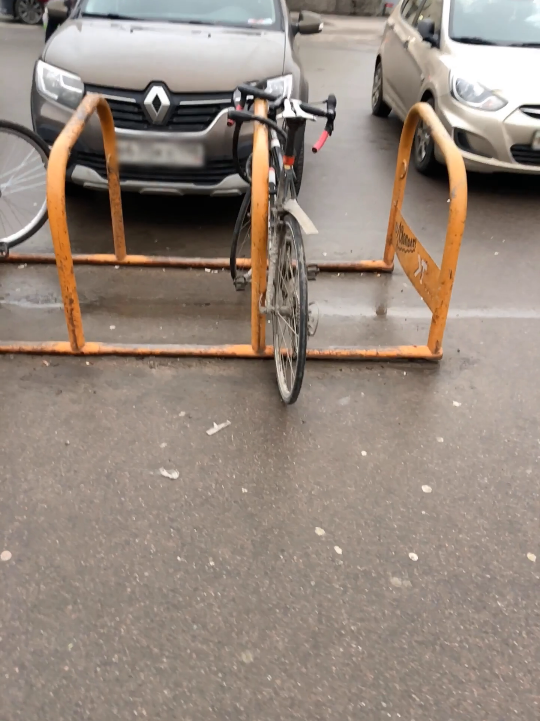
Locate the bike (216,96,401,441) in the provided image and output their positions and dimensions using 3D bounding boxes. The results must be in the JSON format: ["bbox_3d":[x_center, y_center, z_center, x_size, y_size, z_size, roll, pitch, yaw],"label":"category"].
[{"bbox_3d":[0.076,-0.496,2.363,0.489,0.761,1.525,2,33,-3],"label":"bike"}]
